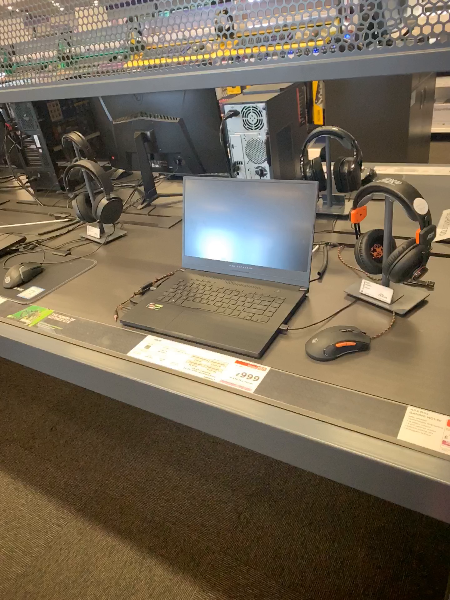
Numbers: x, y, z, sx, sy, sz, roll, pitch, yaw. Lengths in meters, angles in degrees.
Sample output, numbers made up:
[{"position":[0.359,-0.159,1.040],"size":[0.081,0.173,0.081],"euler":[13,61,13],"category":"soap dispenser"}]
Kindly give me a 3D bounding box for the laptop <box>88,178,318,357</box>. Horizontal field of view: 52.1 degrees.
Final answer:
[{"position":[-0.027,-0.098,0.996],"size":[0.349,0.203,0.325],"euler":[11,38,29],"category":"laptop"}]
